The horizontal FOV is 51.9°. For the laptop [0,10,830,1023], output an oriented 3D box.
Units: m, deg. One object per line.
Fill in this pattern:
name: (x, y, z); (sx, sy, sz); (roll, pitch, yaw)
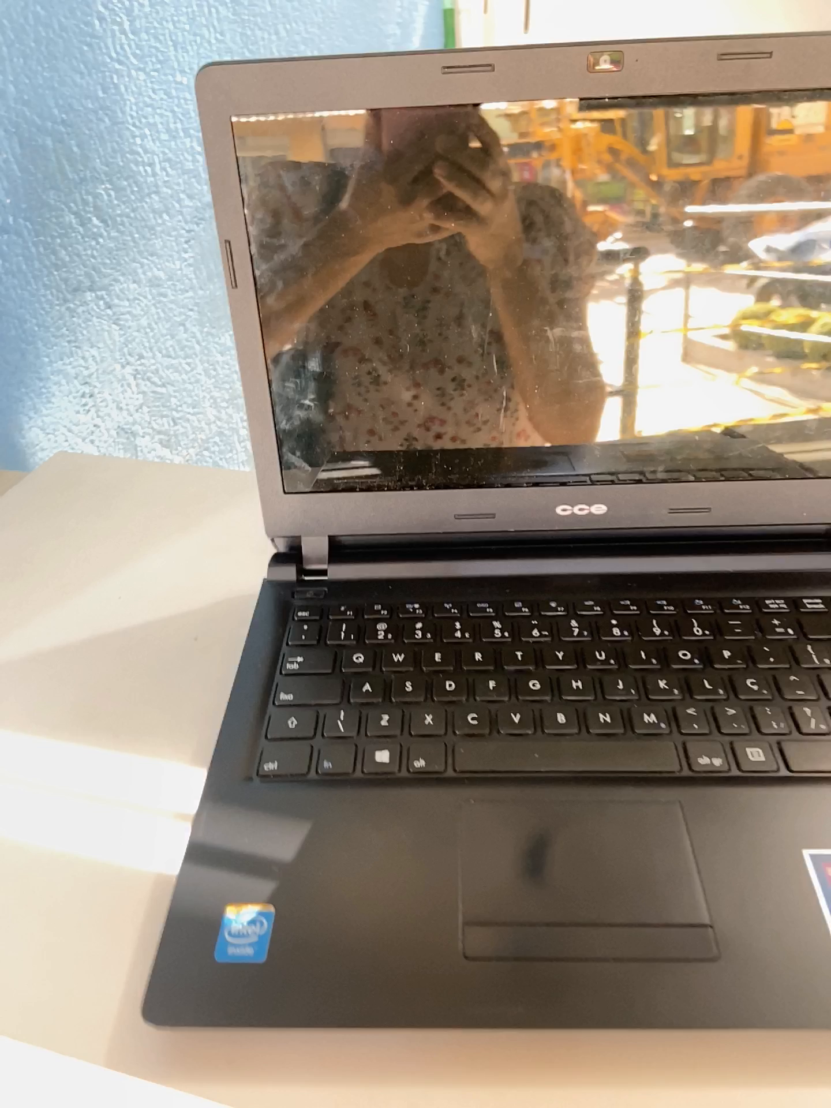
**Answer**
laptop: (0.078, -0.033, 0.300); (0.323, 0.216, 0.268); (-2, 36, 5)
